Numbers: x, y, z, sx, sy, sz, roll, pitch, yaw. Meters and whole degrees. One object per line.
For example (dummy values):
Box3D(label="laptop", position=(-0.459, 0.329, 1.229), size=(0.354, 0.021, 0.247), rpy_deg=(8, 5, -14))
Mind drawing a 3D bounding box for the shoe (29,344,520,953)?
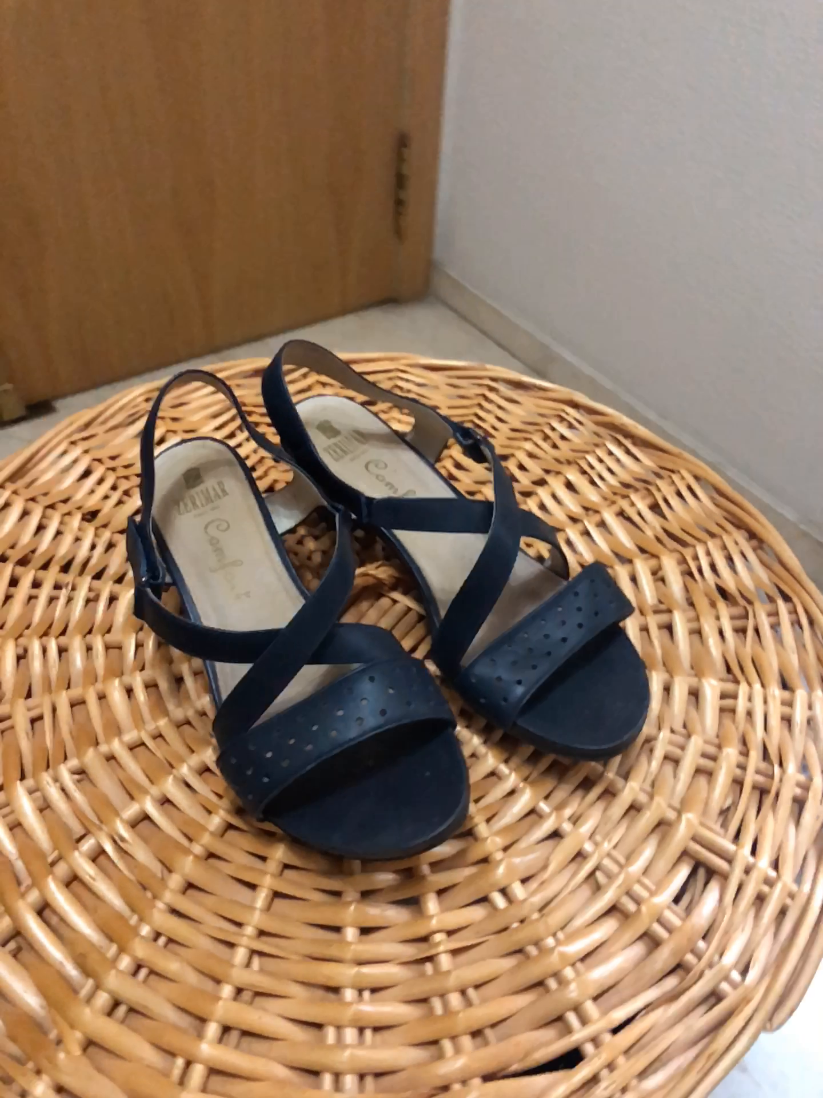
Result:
Box3D(label="shoe", position=(-0.068, 0.039, 0.421), size=(0.100, 0.092, 0.247), rpy_deg=(-28, 67, -16))

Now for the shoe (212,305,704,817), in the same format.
Box3D(label="shoe", position=(0.007, -0.005, 0.459), size=(0.090, 0.088, 0.248), rpy_deg=(-29, 62, -30))
